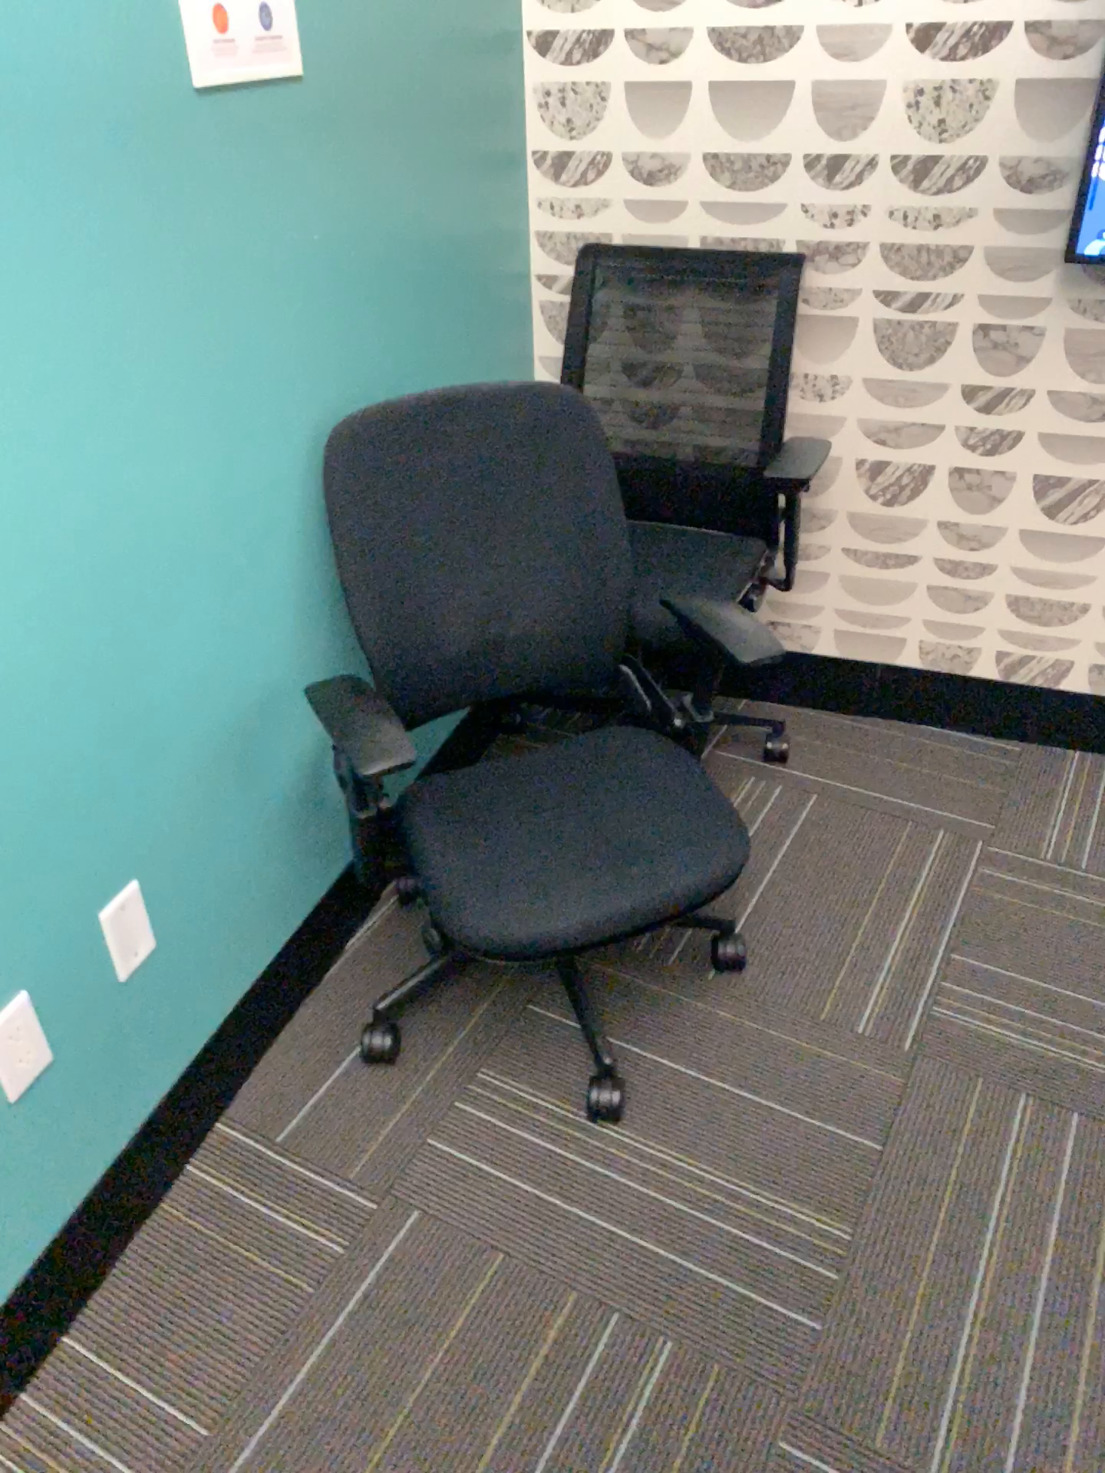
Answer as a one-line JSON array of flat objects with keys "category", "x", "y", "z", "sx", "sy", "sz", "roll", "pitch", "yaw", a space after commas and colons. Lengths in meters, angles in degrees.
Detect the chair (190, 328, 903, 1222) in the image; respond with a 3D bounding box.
[{"category": "chair", "x": -0.055, "y": -0.002, "z": 1.685, "sx": 0.660, "sy": 0.944, "sz": 0.775, "roll": -15, "pitch": 35, "yaw": -19}]
